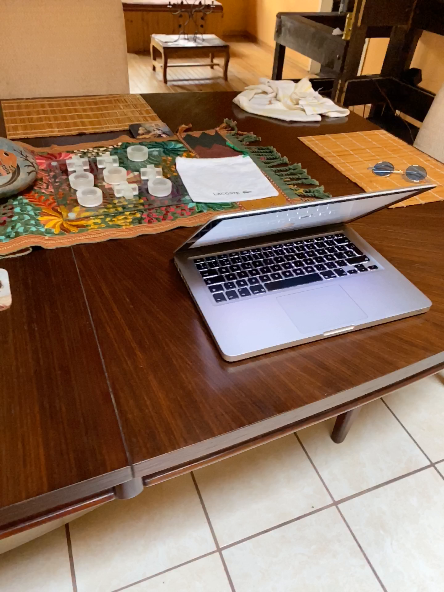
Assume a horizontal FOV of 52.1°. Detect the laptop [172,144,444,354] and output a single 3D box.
[{"bbox_3d":[0.115,-0.086,0.647,0.322,0.152,0.213,-13,43,-20],"label":"laptop"}]
